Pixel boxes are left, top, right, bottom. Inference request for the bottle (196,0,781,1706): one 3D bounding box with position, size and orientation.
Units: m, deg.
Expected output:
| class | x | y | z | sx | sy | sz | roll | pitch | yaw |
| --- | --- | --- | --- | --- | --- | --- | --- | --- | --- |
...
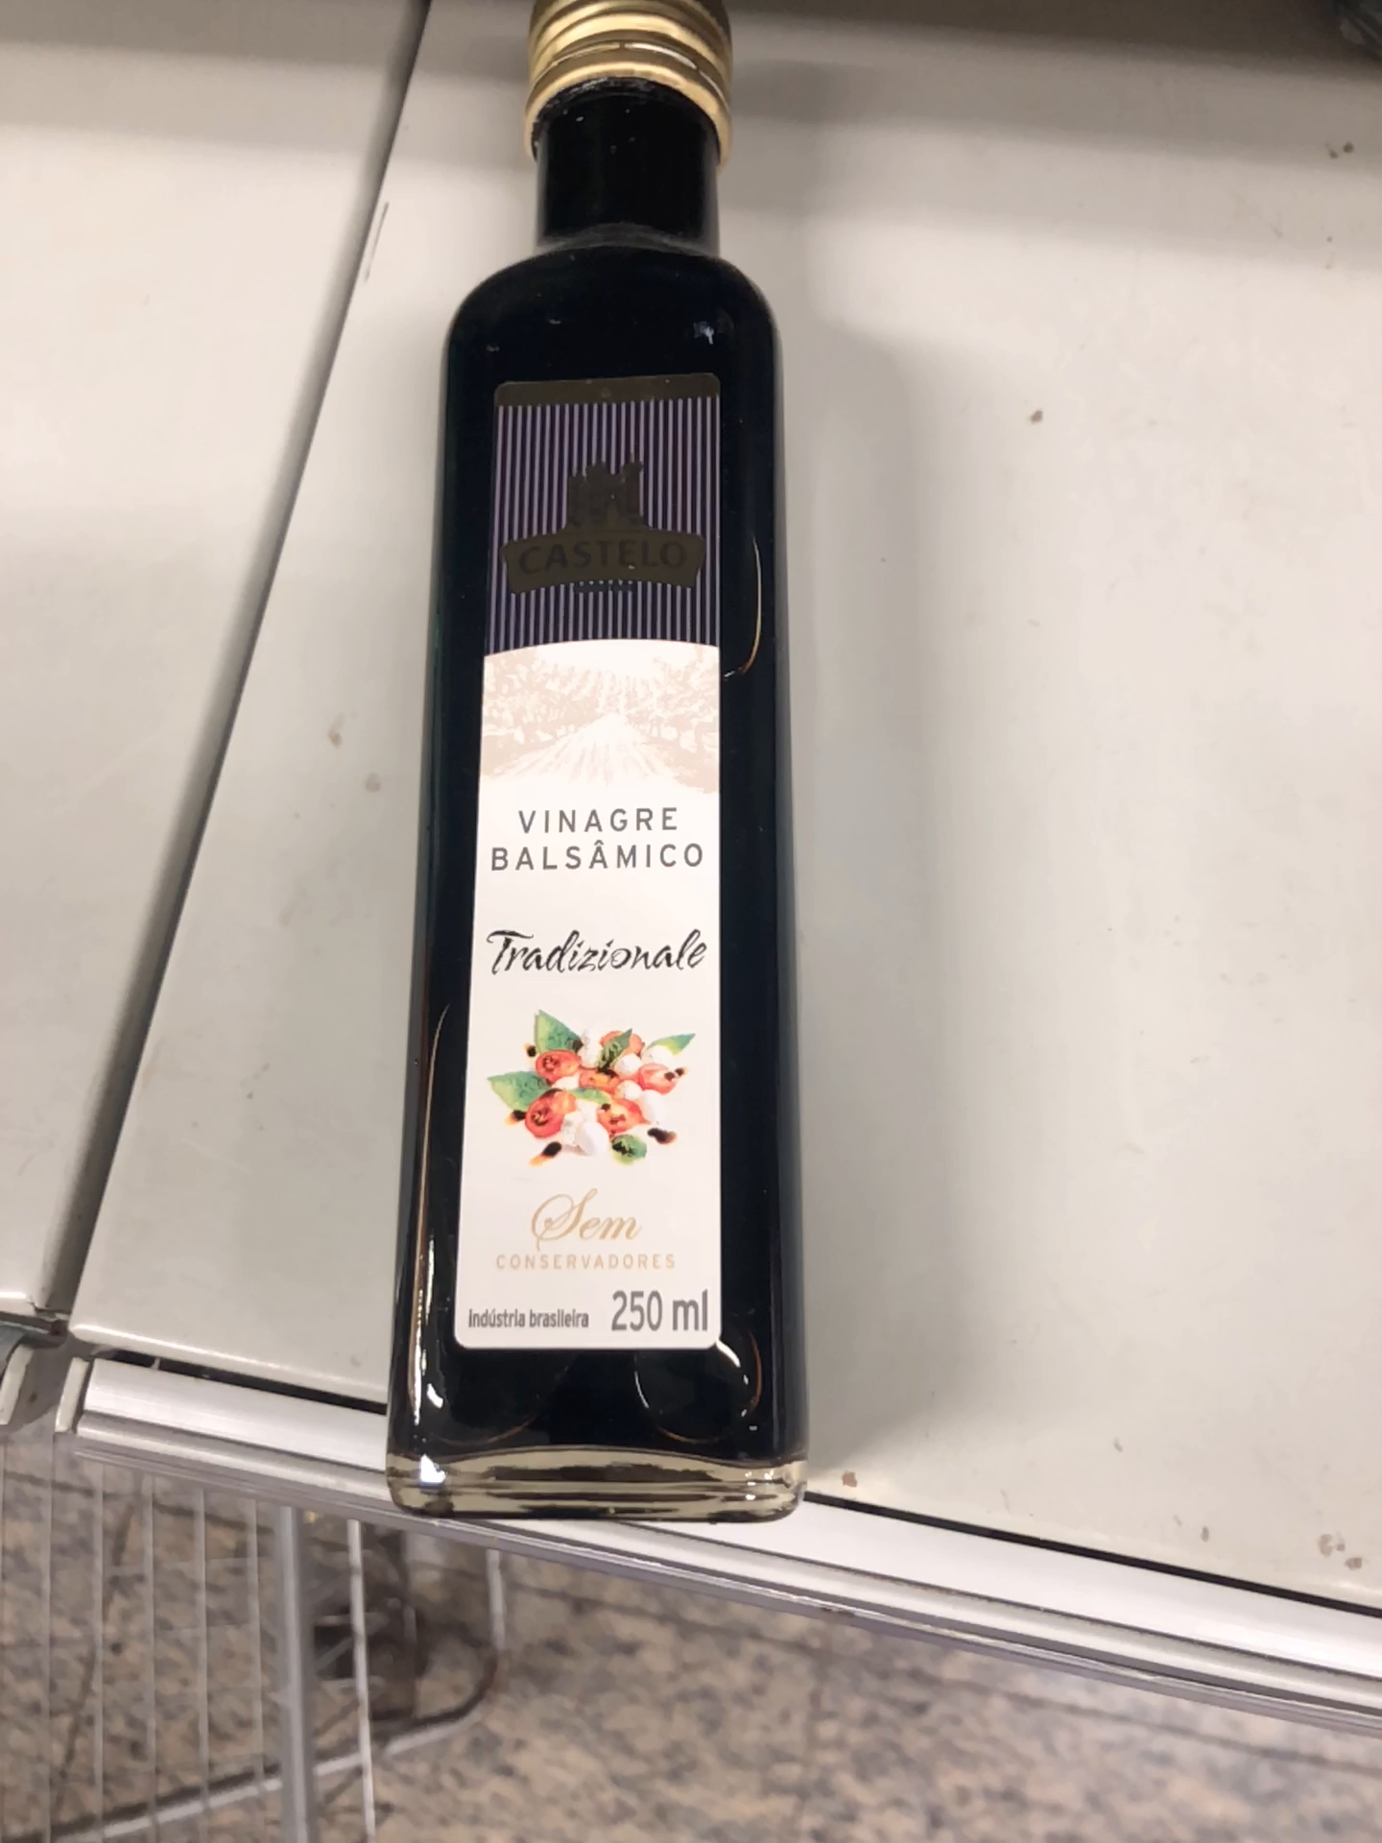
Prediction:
| class | x | y | z | sx | sy | sz | roll | pitch | yaw |
| --- | --- | --- | --- | --- | --- | --- | --- | --- | --- |
| bottle | -0.018 | -0.035 | 0.219 | 0.060 | 0.060 | 0.250 | 0 | 76 | 3 |
